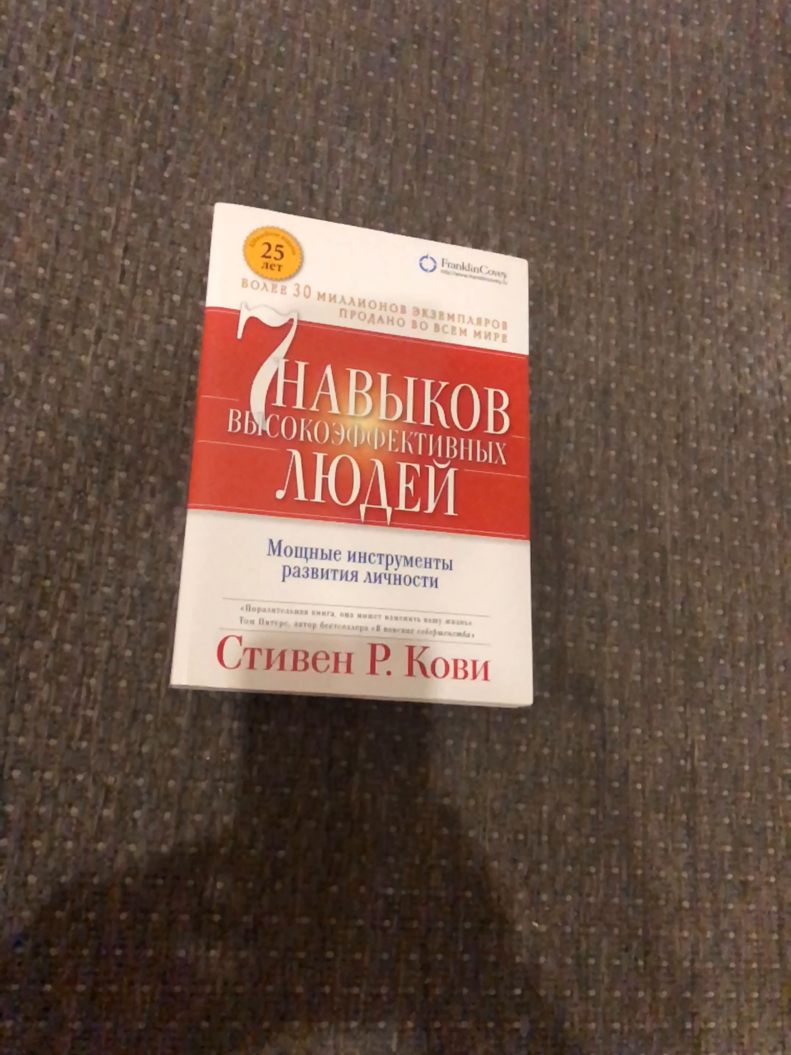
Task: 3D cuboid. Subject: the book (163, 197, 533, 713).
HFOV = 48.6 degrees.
[{"bbox_3d":[-0.015,-0.036,0.426,0.166,0.020,0.236,6,75,-14],"label":"book"}]
